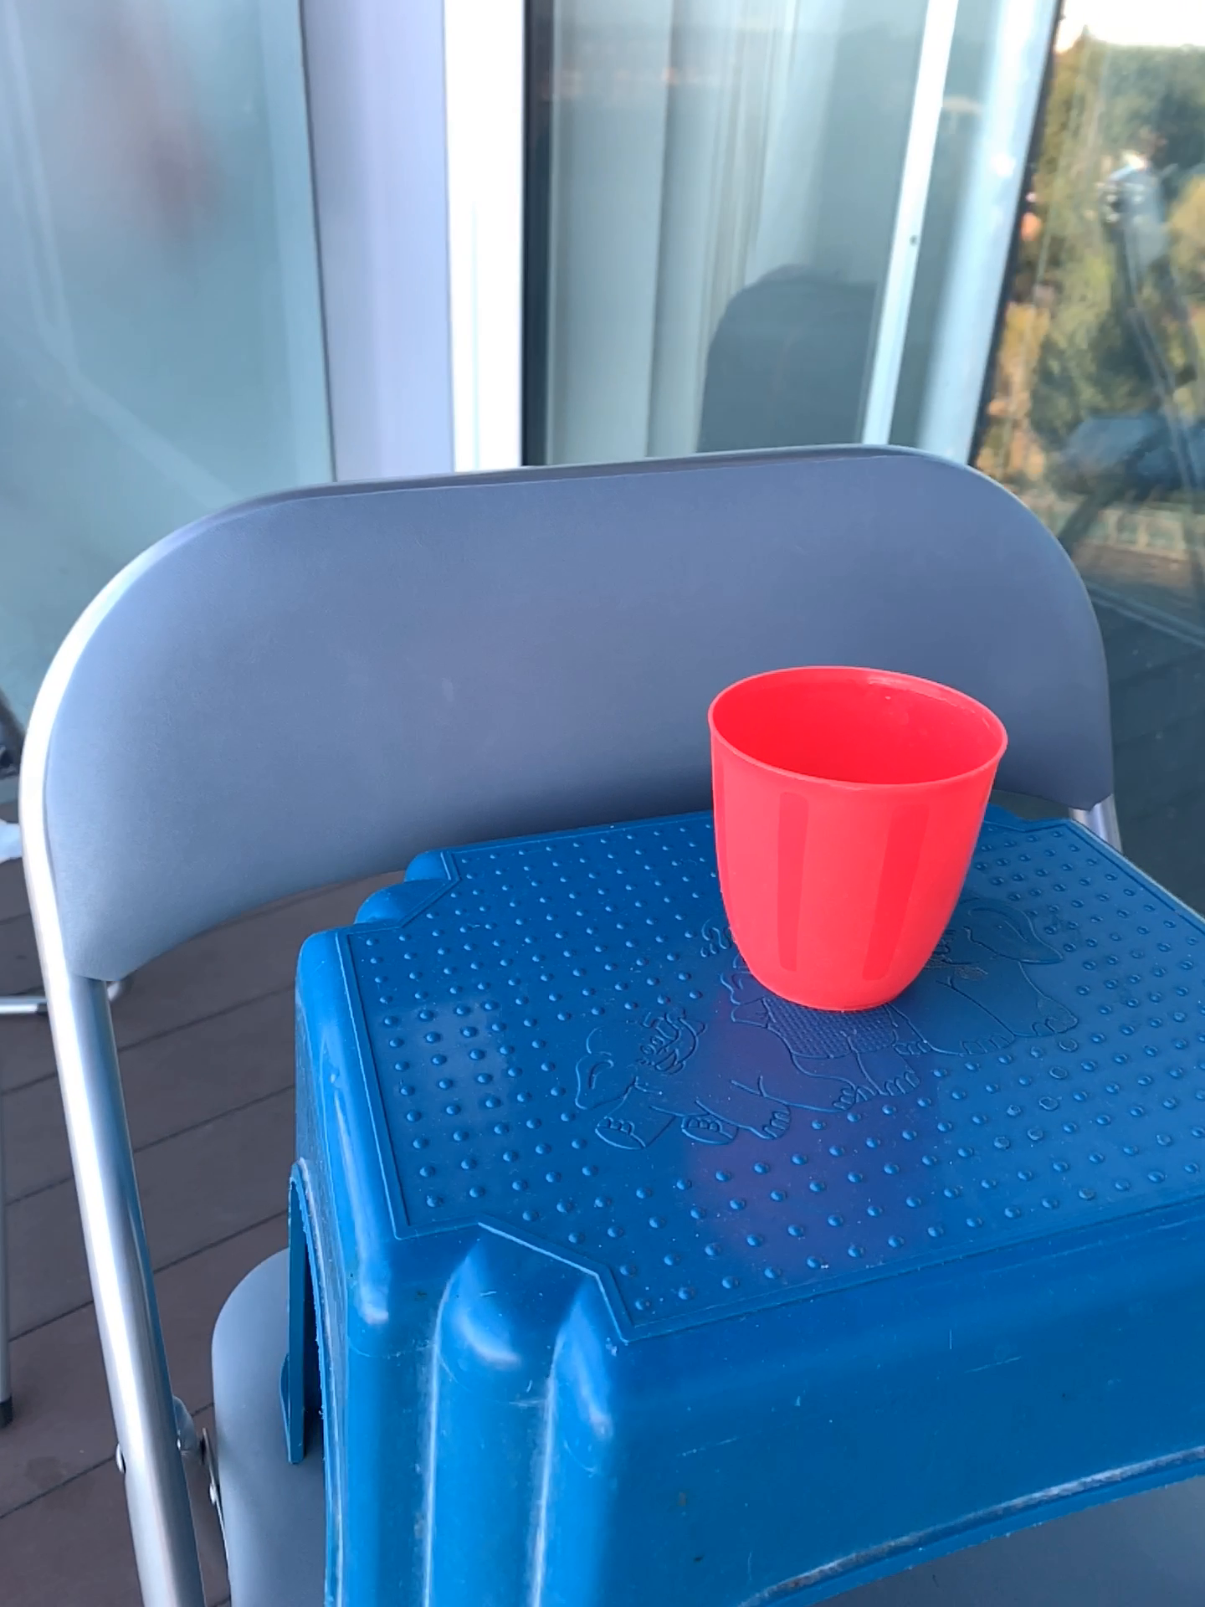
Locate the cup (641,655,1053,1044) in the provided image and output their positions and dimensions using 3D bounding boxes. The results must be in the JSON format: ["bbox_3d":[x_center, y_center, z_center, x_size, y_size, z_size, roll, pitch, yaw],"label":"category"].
[{"bbox_3d":[0.066,0.010,0.369,0.086,0.077,0.074,-7,33,-16],"label":"cup"}]
